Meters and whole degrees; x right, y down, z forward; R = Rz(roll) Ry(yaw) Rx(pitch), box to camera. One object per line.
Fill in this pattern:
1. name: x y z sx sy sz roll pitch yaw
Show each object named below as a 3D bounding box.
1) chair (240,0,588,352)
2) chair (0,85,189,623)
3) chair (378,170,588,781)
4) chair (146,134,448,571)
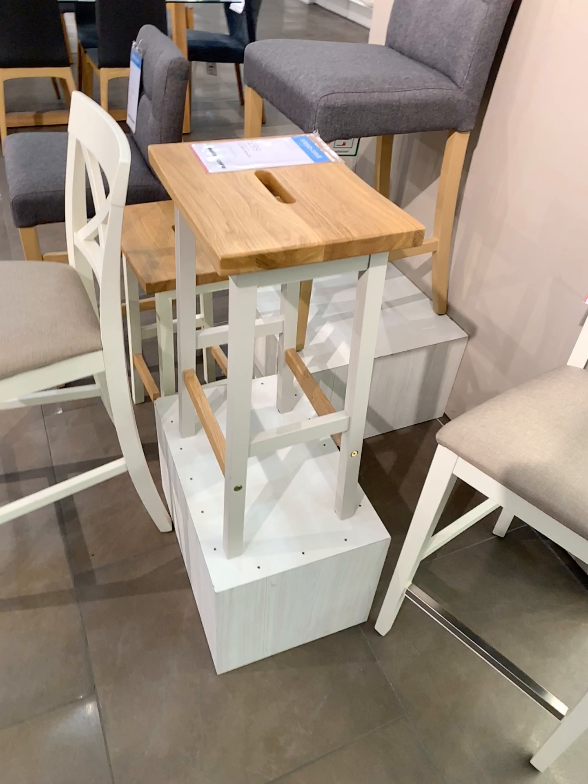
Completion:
1. chair: 0.199 -0.680 1.520 0.532 0.984 0.471 -13 44 -20
2. chair: -0.560 -0.052 1.260 0.502 0.954 0.440 -18 45 -25
3. chair: 0.552 0.181 1.105 0.419 0.944 0.514 34 48 30
4. chair: -0.039 -0.067 1.095 0.322 0.637 0.400 -12 43 -20
